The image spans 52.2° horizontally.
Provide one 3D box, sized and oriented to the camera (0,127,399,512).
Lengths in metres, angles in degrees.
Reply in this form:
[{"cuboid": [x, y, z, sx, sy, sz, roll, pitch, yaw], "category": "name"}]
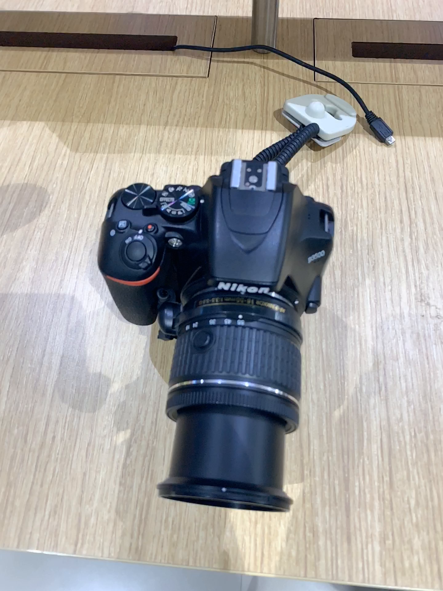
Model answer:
[{"cuboid": [-0.004, 0.015, 0.200, 0.115, 0.100, 0.136, 3, 63, 3], "category": "camera"}]
